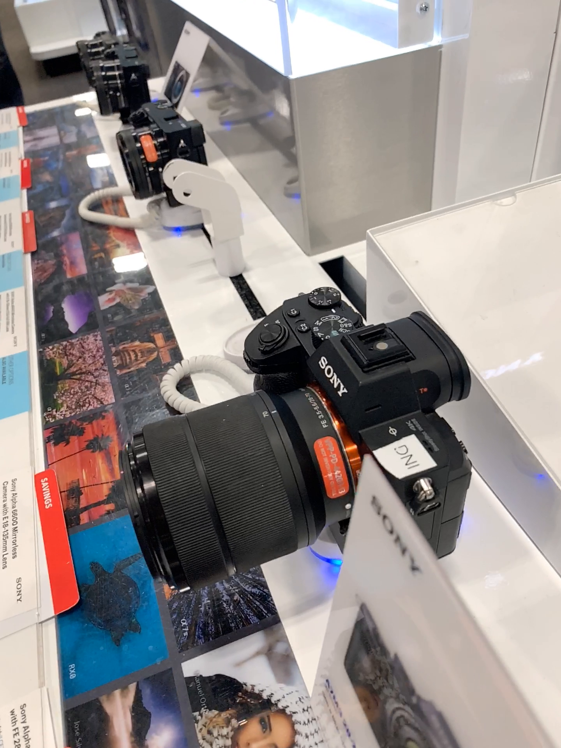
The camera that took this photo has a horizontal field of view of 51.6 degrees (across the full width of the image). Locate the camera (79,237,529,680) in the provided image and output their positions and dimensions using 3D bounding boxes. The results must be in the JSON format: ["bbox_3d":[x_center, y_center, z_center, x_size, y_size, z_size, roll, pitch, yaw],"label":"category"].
[{"bbox_3d":[0.005,0.029,0.261,0.140,0.099,0.120,-21,43,-12],"label":"camera"}]
